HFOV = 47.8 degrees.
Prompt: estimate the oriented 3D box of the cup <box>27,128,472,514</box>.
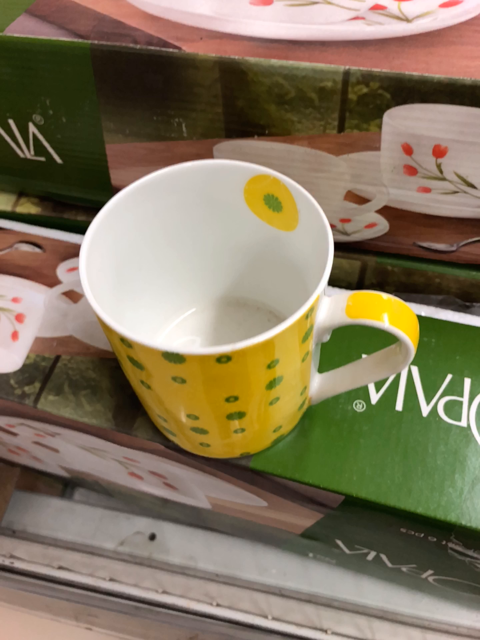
[{"bbox_3d":[0.010,0.002,0.191,0.110,0.090,0.080,11,56,12],"label":"cup"}]
